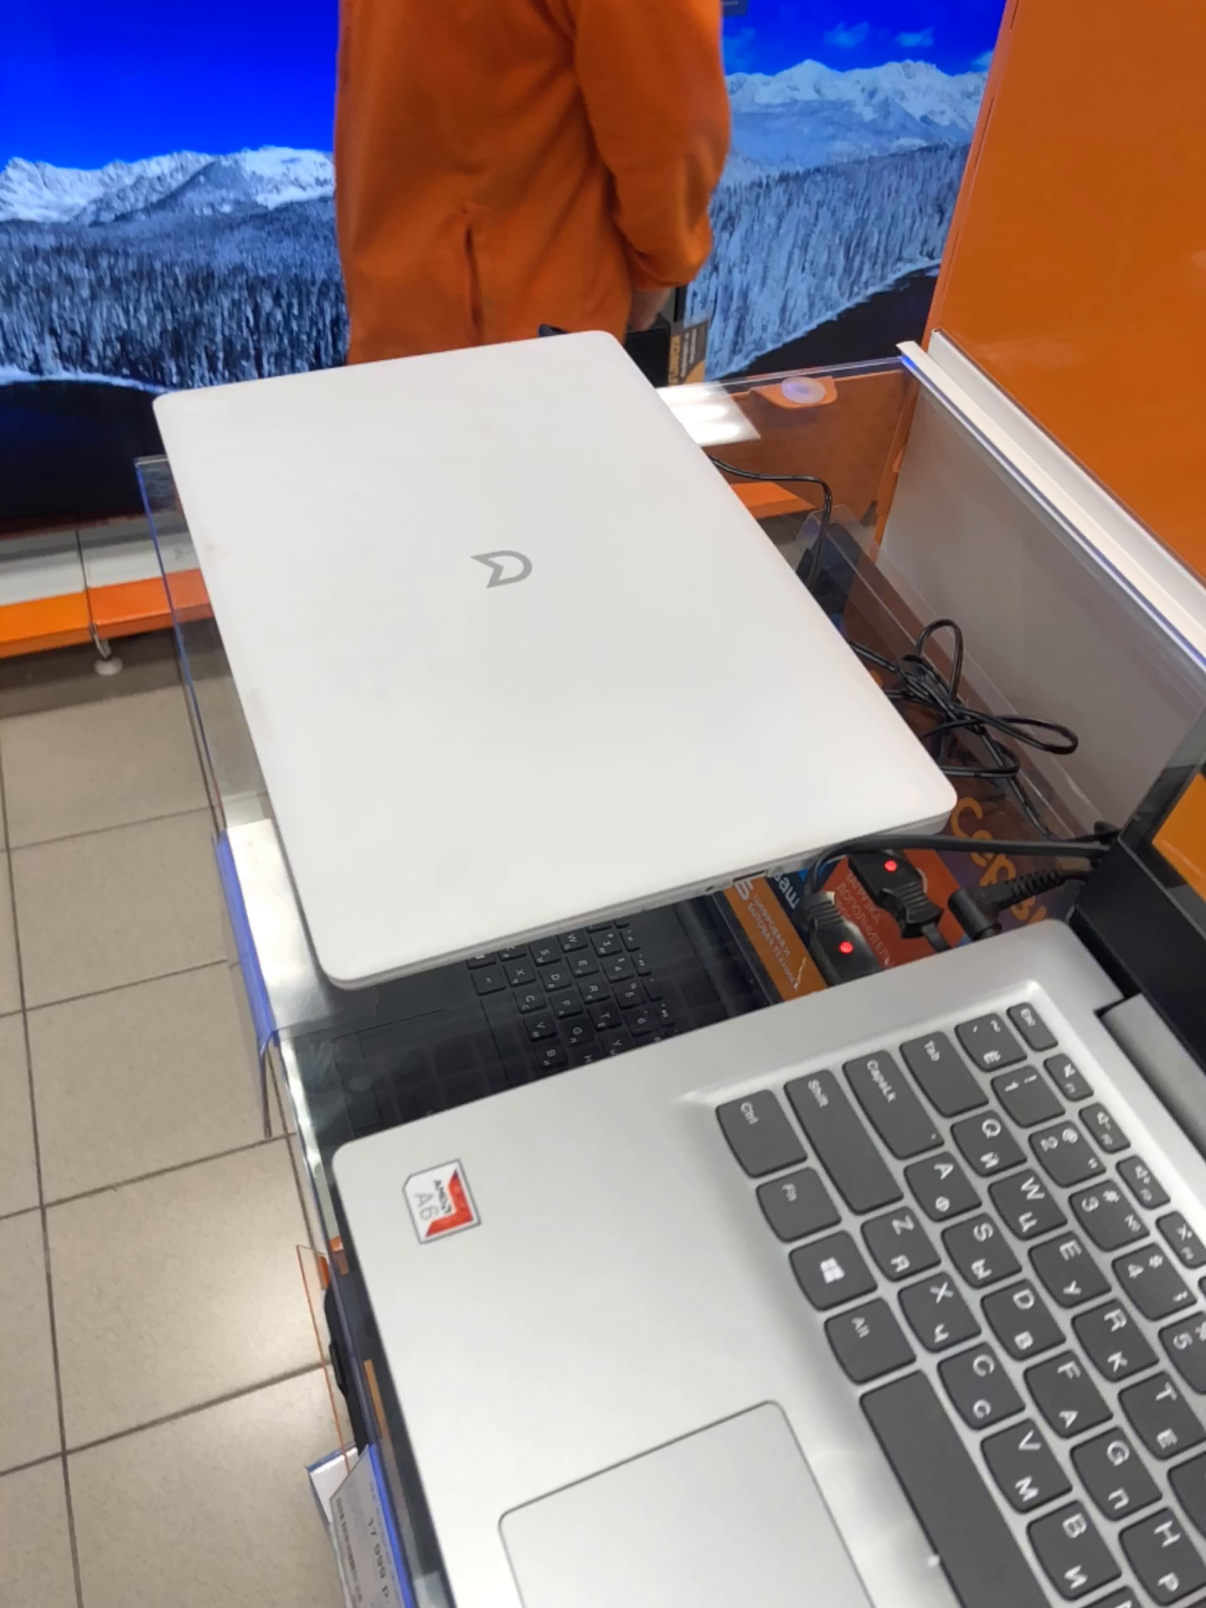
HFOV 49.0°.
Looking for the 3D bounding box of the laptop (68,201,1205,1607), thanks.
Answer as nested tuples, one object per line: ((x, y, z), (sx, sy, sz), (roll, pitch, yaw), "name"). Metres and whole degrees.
((0.120, 0.103, 0.204), (0.279, 0.224, 0.345), (-15, 50, -18), "laptop")

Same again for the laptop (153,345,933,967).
((-0.043, -0.087, 0.514), (0.212, 0.002, 0.314), (-14, 50, -16), "laptop")

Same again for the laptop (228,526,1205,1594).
((0.019, 0.090, 0.624), (0.306, 0.228, 0.365), (-12, 48, -15), "laptop")
